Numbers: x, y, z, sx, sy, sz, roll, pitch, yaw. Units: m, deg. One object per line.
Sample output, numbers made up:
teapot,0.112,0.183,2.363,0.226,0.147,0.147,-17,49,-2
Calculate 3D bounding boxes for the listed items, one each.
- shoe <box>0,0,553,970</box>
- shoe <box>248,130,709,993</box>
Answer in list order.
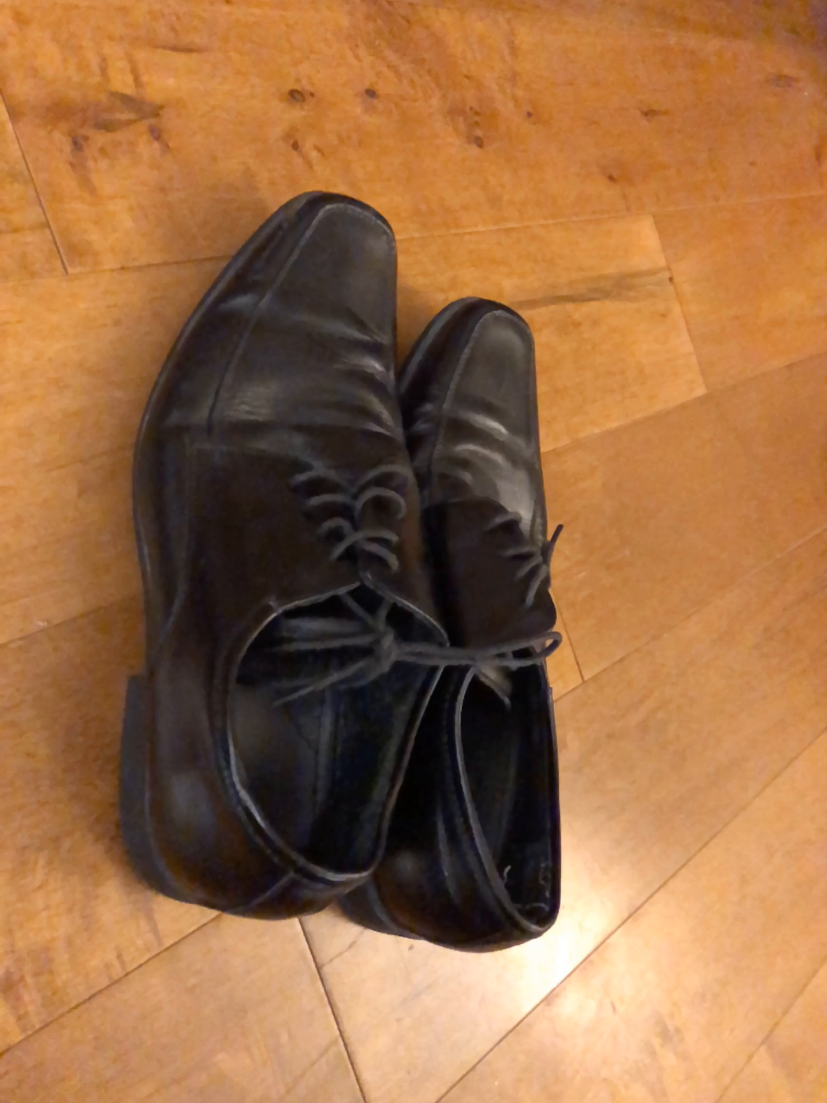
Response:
shoe,-0.046,-0.026,0.338,0.110,0.130,0.310,19,70,-34
shoe,0.034,0.007,0.393,0.110,0.130,0.310,19,70,-34
